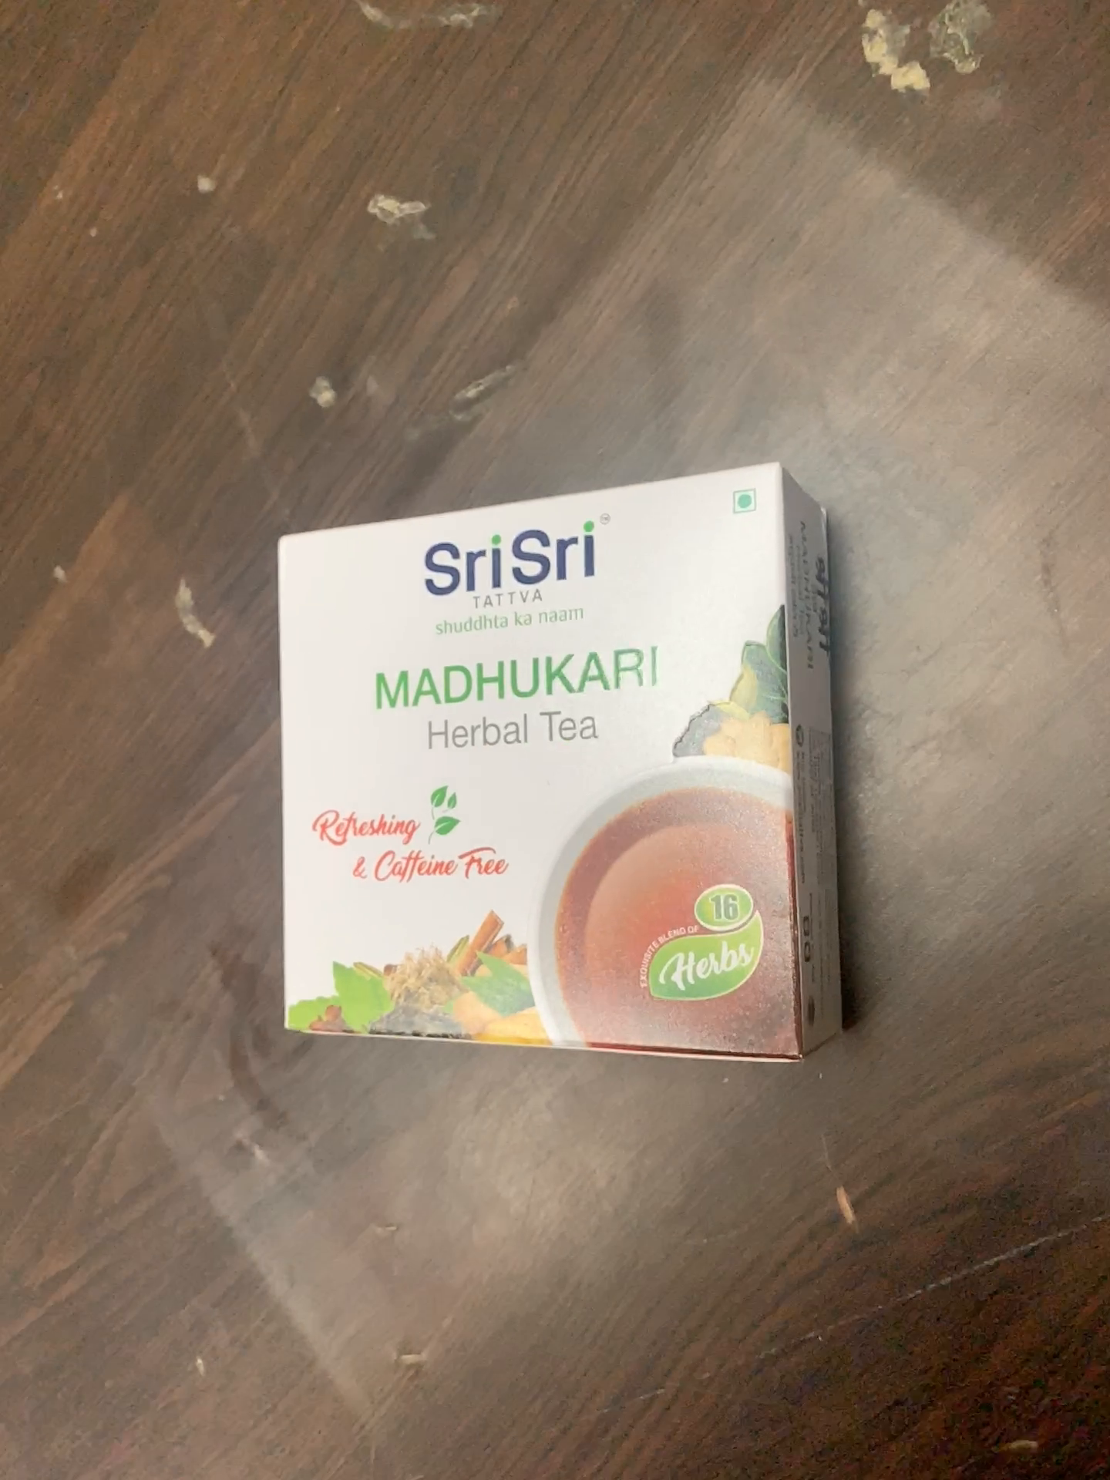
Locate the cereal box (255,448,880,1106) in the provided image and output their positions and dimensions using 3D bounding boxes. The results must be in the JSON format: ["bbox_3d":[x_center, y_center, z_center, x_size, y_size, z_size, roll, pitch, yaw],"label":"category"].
[{"bbox_3d":[0.000,0.010,0.256,0.130,0.040,0.120,-3,88,25],"label":"cereal box"}]
